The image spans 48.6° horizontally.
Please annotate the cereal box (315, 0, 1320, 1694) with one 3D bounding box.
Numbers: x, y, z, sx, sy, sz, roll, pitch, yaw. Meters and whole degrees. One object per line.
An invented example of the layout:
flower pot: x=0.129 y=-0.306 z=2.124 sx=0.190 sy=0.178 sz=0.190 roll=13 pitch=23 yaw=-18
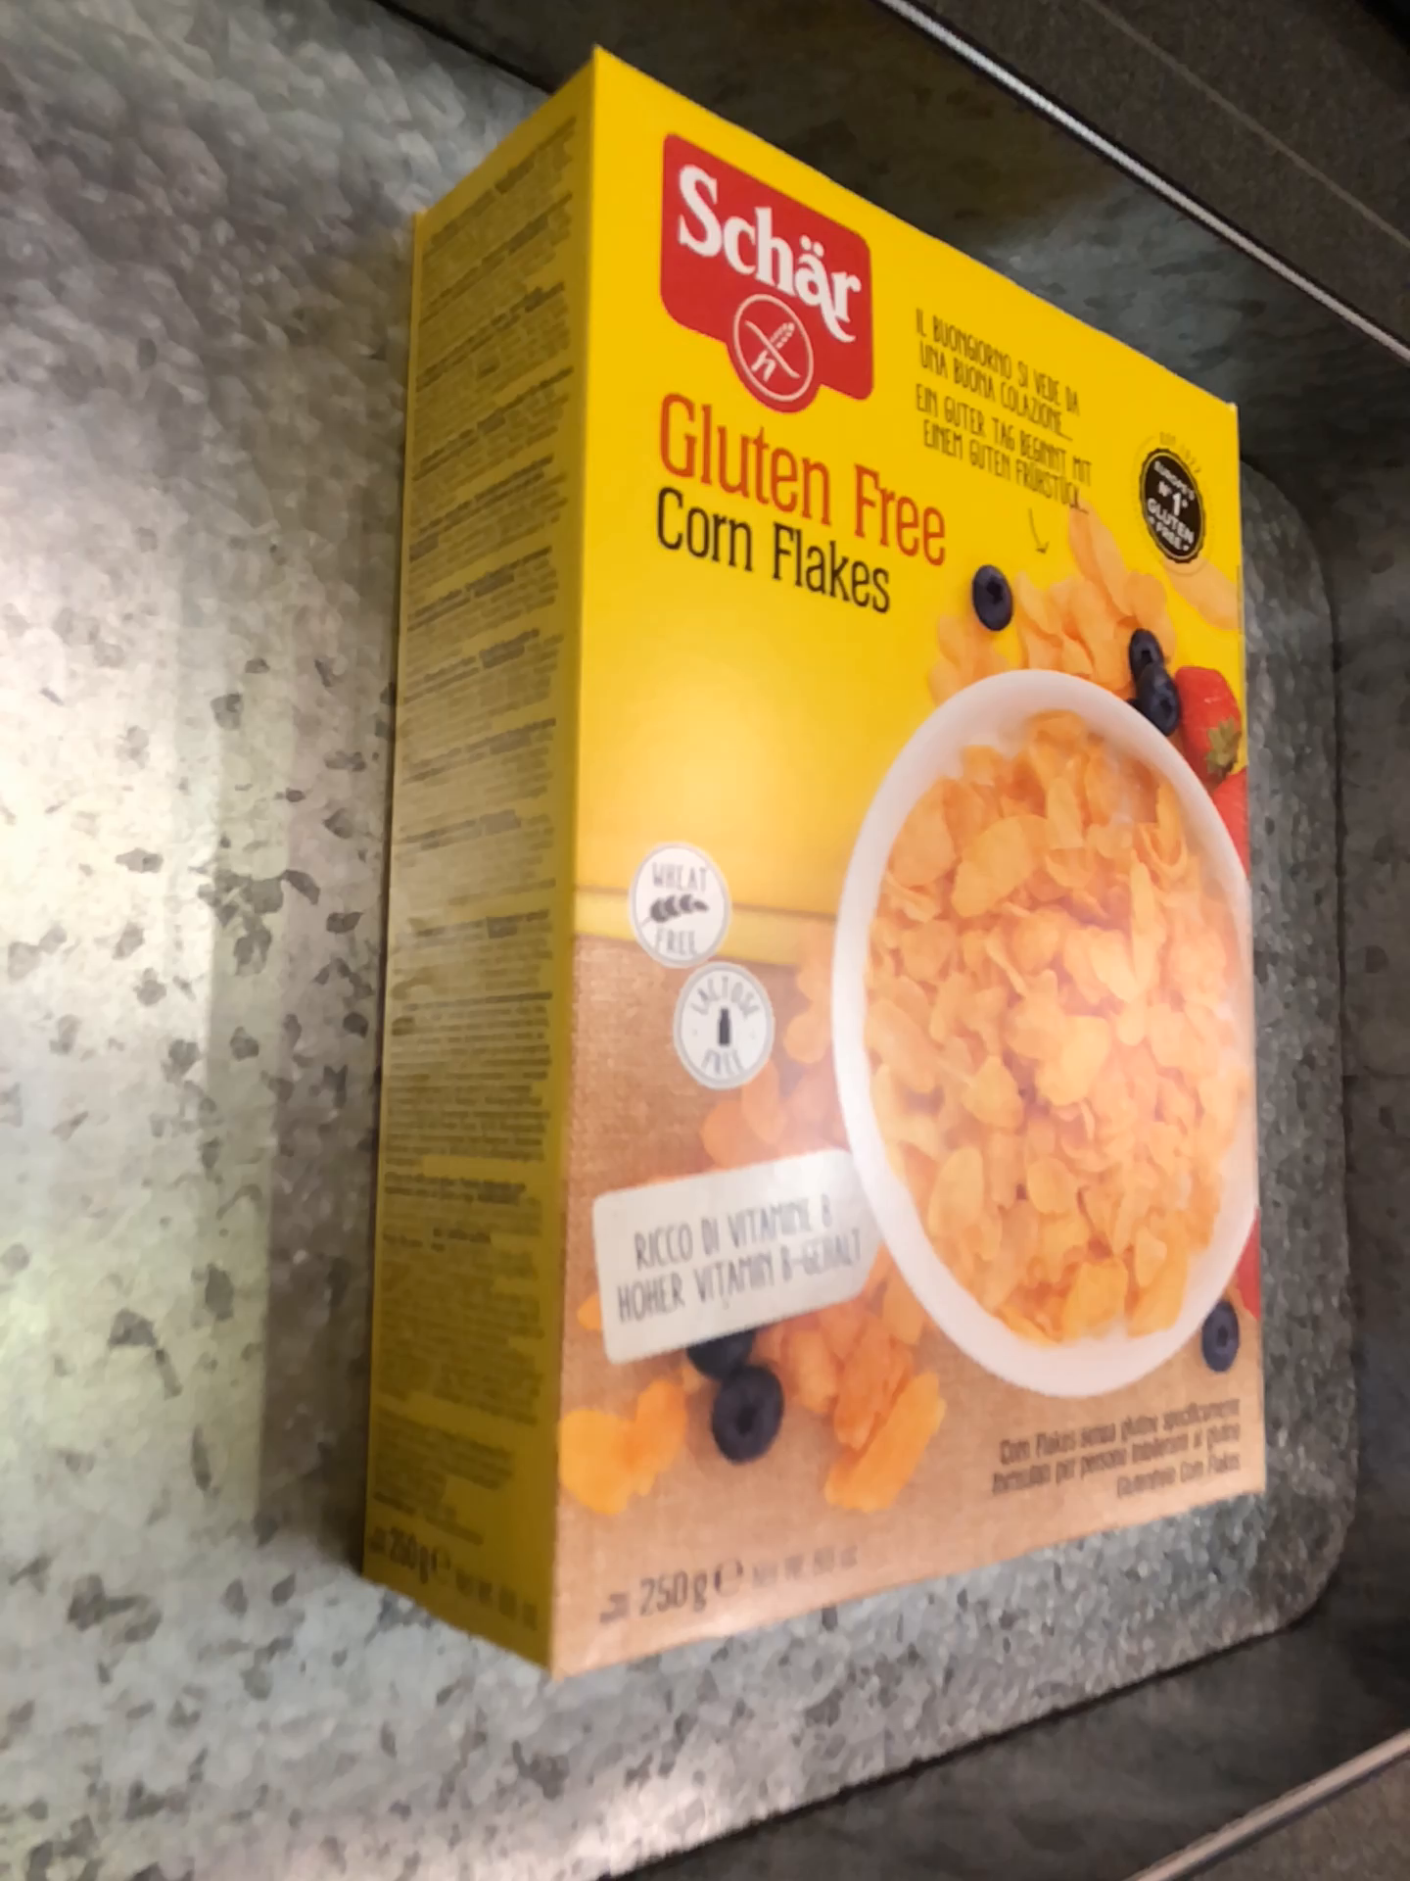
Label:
cereal box: x=0.036 y=-0.014 z=0.312 sx=0.201 sy=0.070 sz=0.250 roll=6 pitch=82 yaw=-40
